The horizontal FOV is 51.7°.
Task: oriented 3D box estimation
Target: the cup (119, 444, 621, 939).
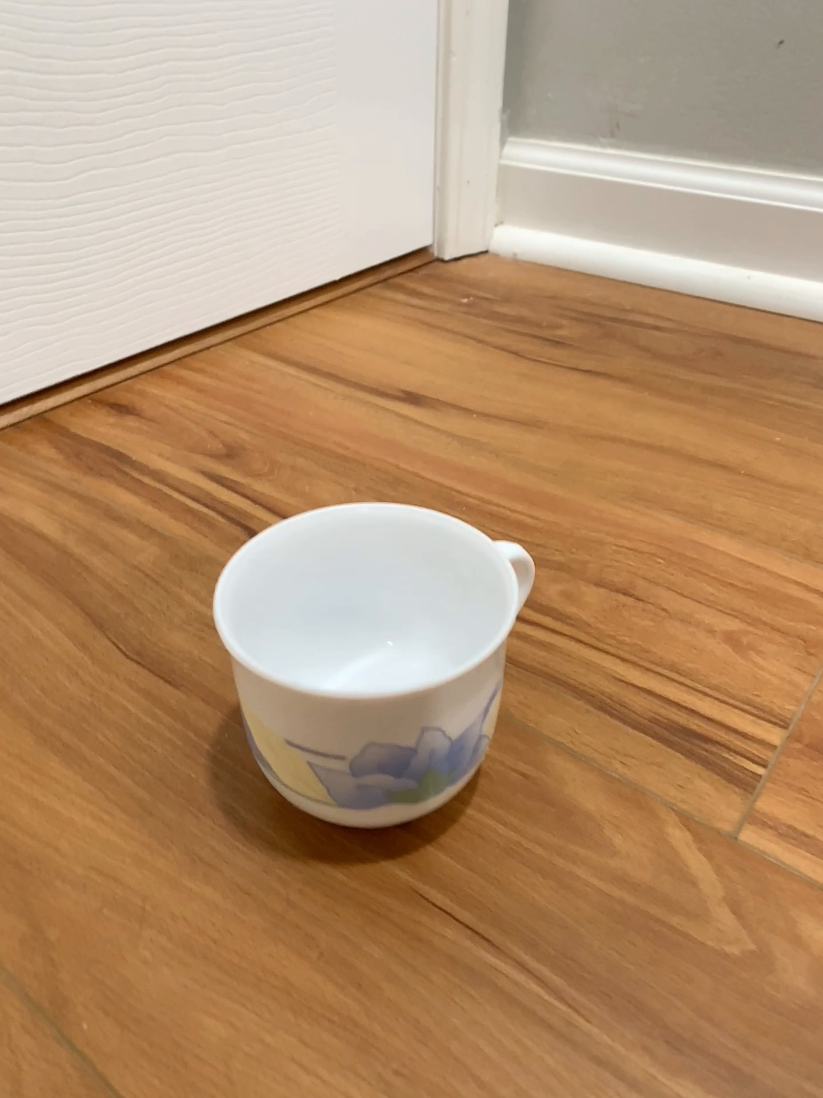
[{"bbox_3d":[-0.009,0.030,0.242,0.084,0.063,0.104,28,44,34],"label":"cup"}]
